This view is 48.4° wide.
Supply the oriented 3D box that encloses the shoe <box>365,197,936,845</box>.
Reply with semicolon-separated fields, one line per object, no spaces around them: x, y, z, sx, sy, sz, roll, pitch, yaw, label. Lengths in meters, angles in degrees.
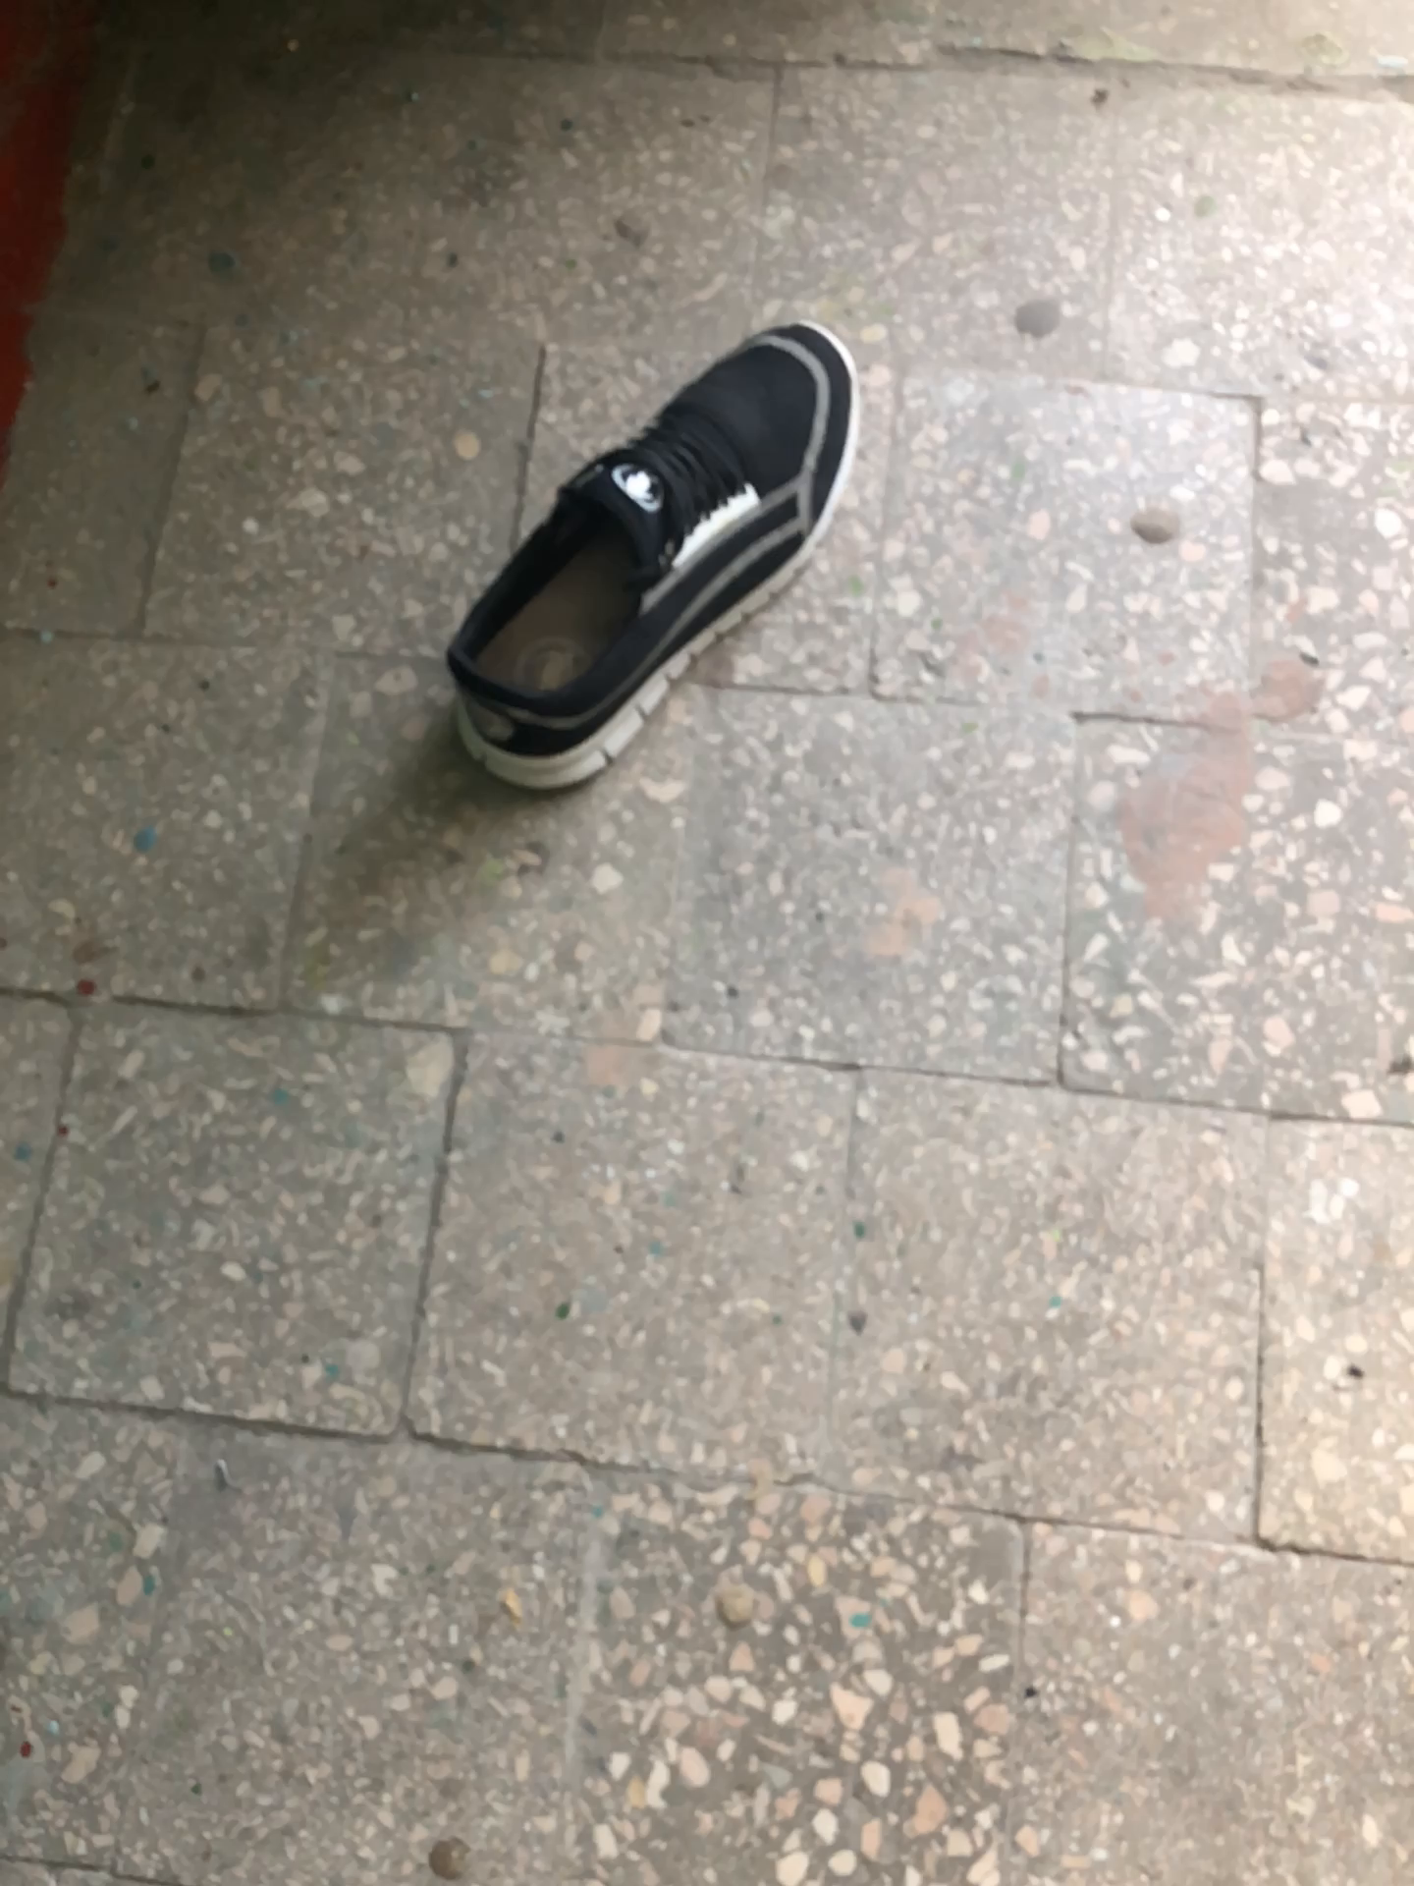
-0.020;-0.200;0.765;0.100;0.120;0.280;39;81;11;shoe
